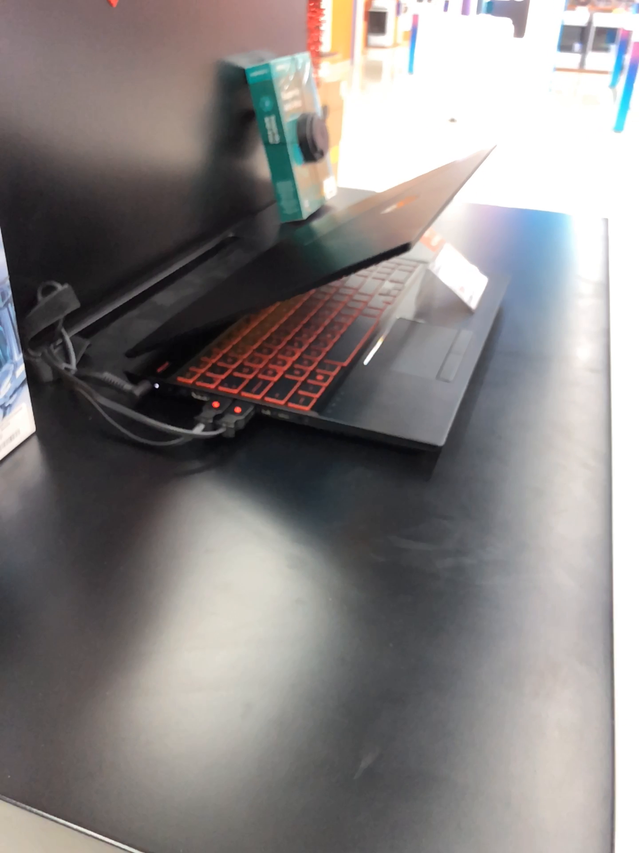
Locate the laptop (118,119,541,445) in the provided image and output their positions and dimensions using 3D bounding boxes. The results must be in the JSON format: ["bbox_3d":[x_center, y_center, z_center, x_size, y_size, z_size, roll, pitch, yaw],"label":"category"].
[{"bbox_3d":[0.038,-0.155,0.611,0.230,0.121,0.352,15,35,16],"label":"laptop"}]
